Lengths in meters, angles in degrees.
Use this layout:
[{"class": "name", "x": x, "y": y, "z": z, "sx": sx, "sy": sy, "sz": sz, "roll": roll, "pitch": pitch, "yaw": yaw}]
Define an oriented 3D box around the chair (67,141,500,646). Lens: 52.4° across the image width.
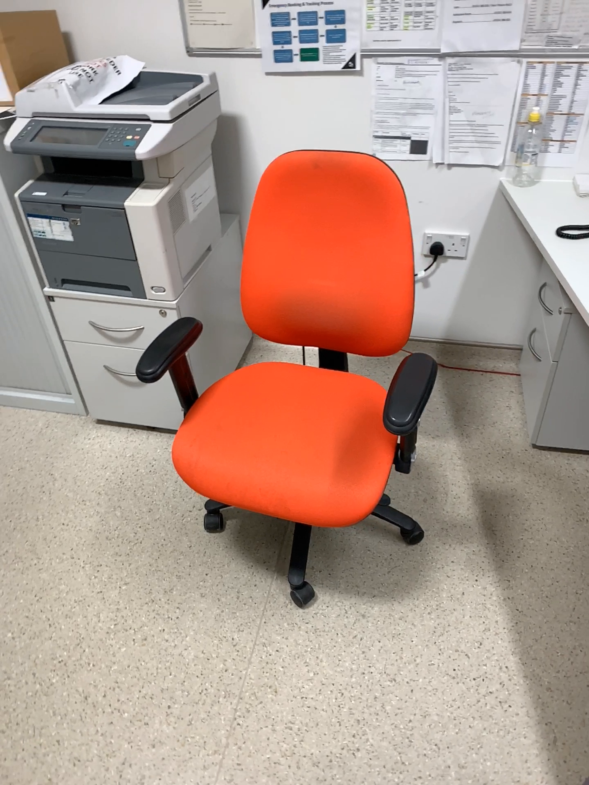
[{"class": "chair", "x": 0.051, "y": -0.024, "z": 1.467, "sx": 0.651, "sy": 0.893, "sz": 0.690, "roll": 12, "pitch": 42, "yaw": 18}]
